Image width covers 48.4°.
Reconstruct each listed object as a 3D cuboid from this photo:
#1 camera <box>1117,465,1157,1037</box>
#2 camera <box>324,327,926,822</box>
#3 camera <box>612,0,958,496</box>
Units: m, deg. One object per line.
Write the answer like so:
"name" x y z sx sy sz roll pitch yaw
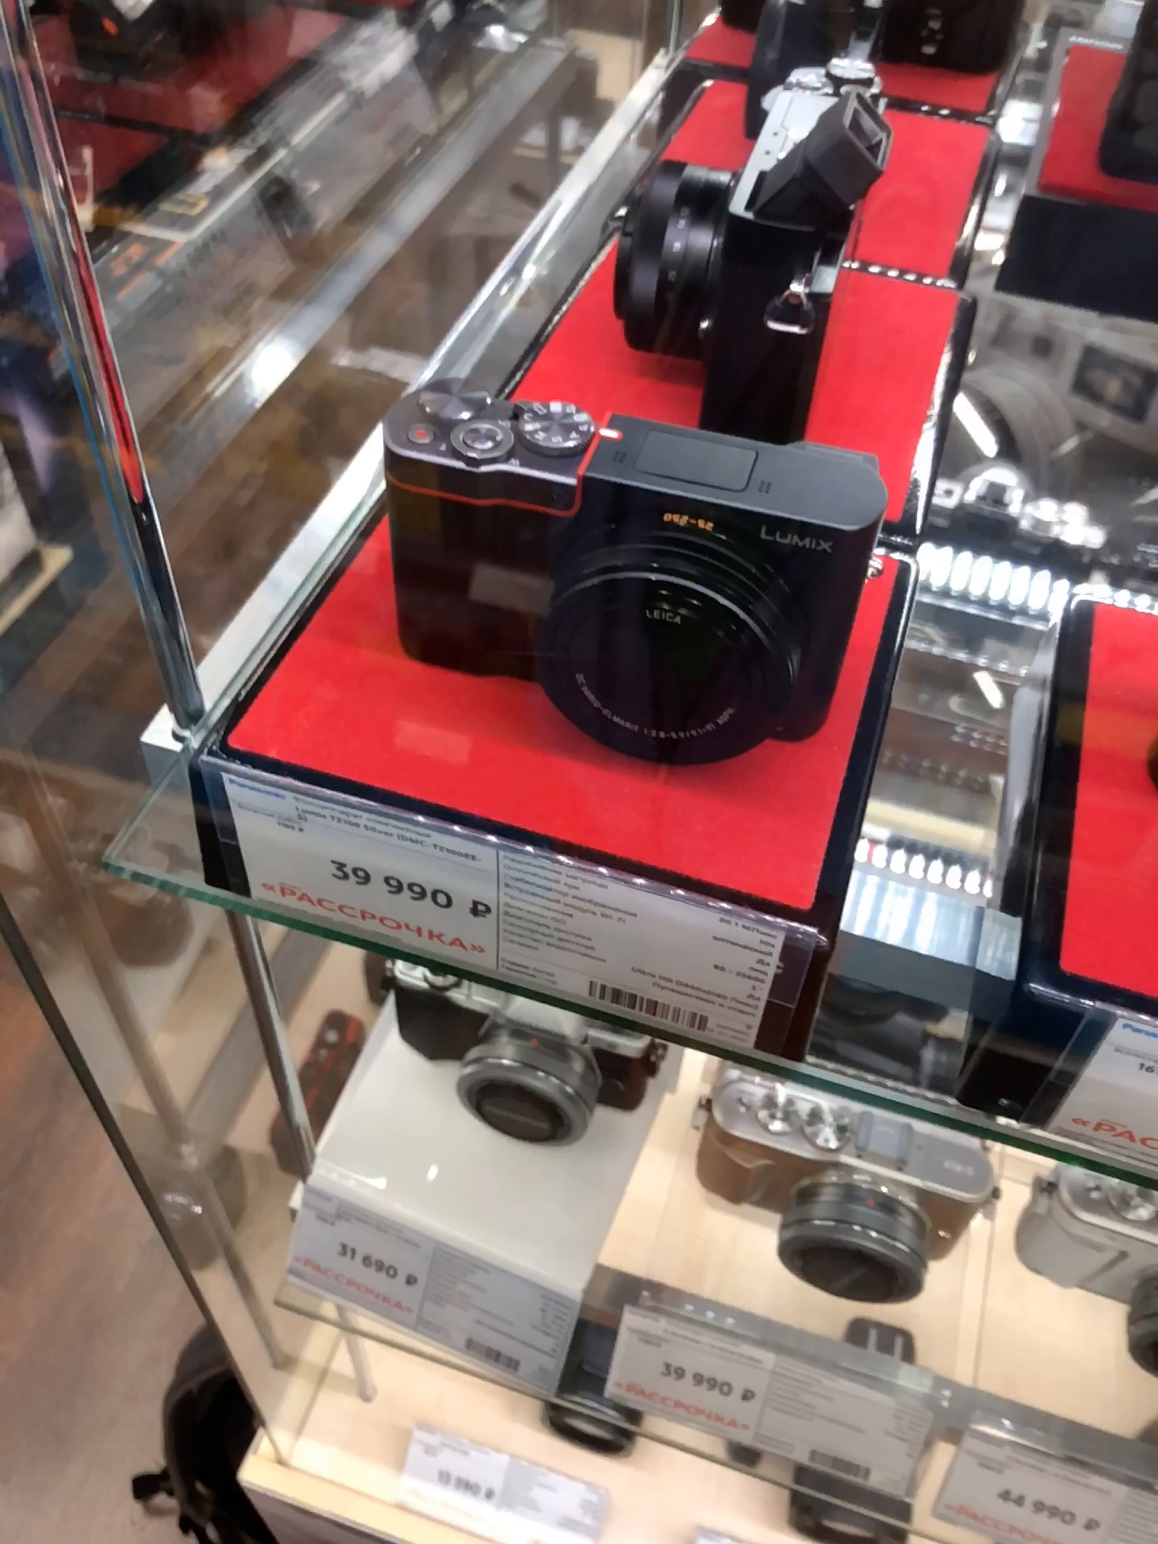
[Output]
"camera" 0.180 -0.004 0.258 0.113 0.070 0.051 17 50 12
"camera" 0.009 -0.044 0.288 0.113 0.070 0.050 15 50 10
"camera" 0.061 -0.164 0.389 0.069 0.101 0.113 14 50 9
